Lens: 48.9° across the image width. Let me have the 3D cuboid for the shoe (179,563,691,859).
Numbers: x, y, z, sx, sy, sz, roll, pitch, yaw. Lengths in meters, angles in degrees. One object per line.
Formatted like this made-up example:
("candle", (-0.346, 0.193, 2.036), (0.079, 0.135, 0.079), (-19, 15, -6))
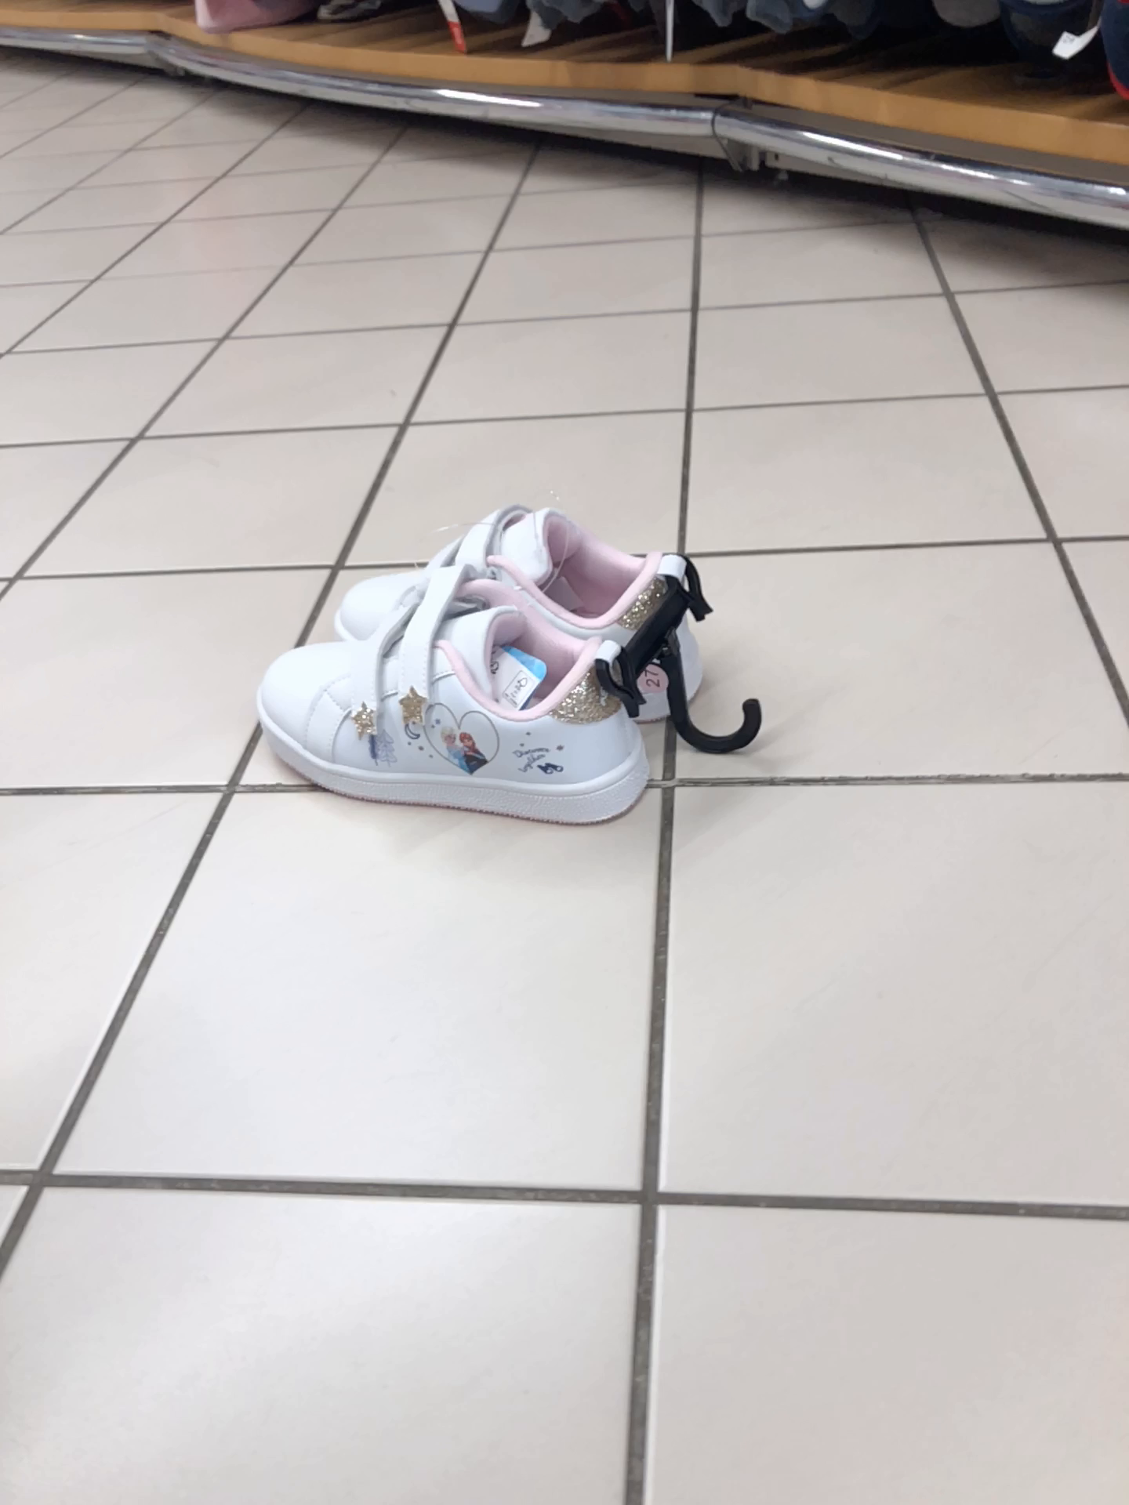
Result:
("shoe", (-0.054, -0.023, 0.545), (0.200, 0.070, 0.081), (9, 40, 21))

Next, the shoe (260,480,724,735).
("shoe", (-0.032, -0.074, 0.598), (0.200, 0.070, 0.081), (9, 40, 21))
